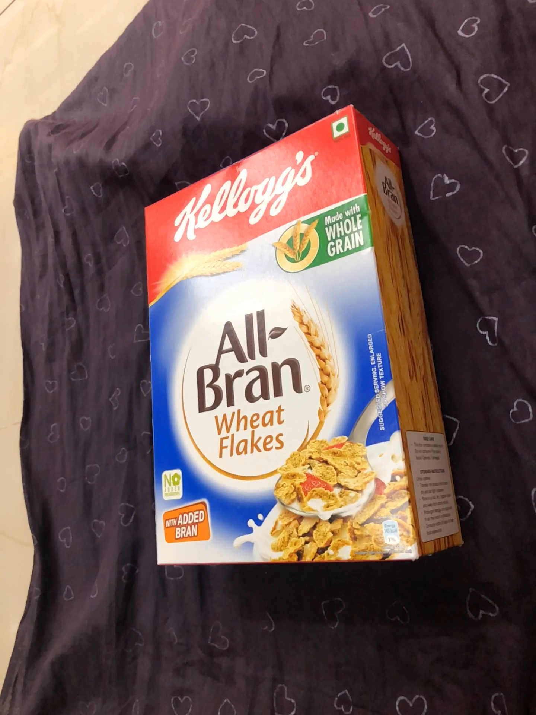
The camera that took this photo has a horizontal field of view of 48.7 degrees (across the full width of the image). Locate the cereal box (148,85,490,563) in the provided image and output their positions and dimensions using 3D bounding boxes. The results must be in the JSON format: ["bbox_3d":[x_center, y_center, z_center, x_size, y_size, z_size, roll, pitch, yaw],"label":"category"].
[{"bbox_3d":[0.018,-0.007,0.391,0.191,0.070,0.260,-14,73,34],"label":"cereal box"}]
